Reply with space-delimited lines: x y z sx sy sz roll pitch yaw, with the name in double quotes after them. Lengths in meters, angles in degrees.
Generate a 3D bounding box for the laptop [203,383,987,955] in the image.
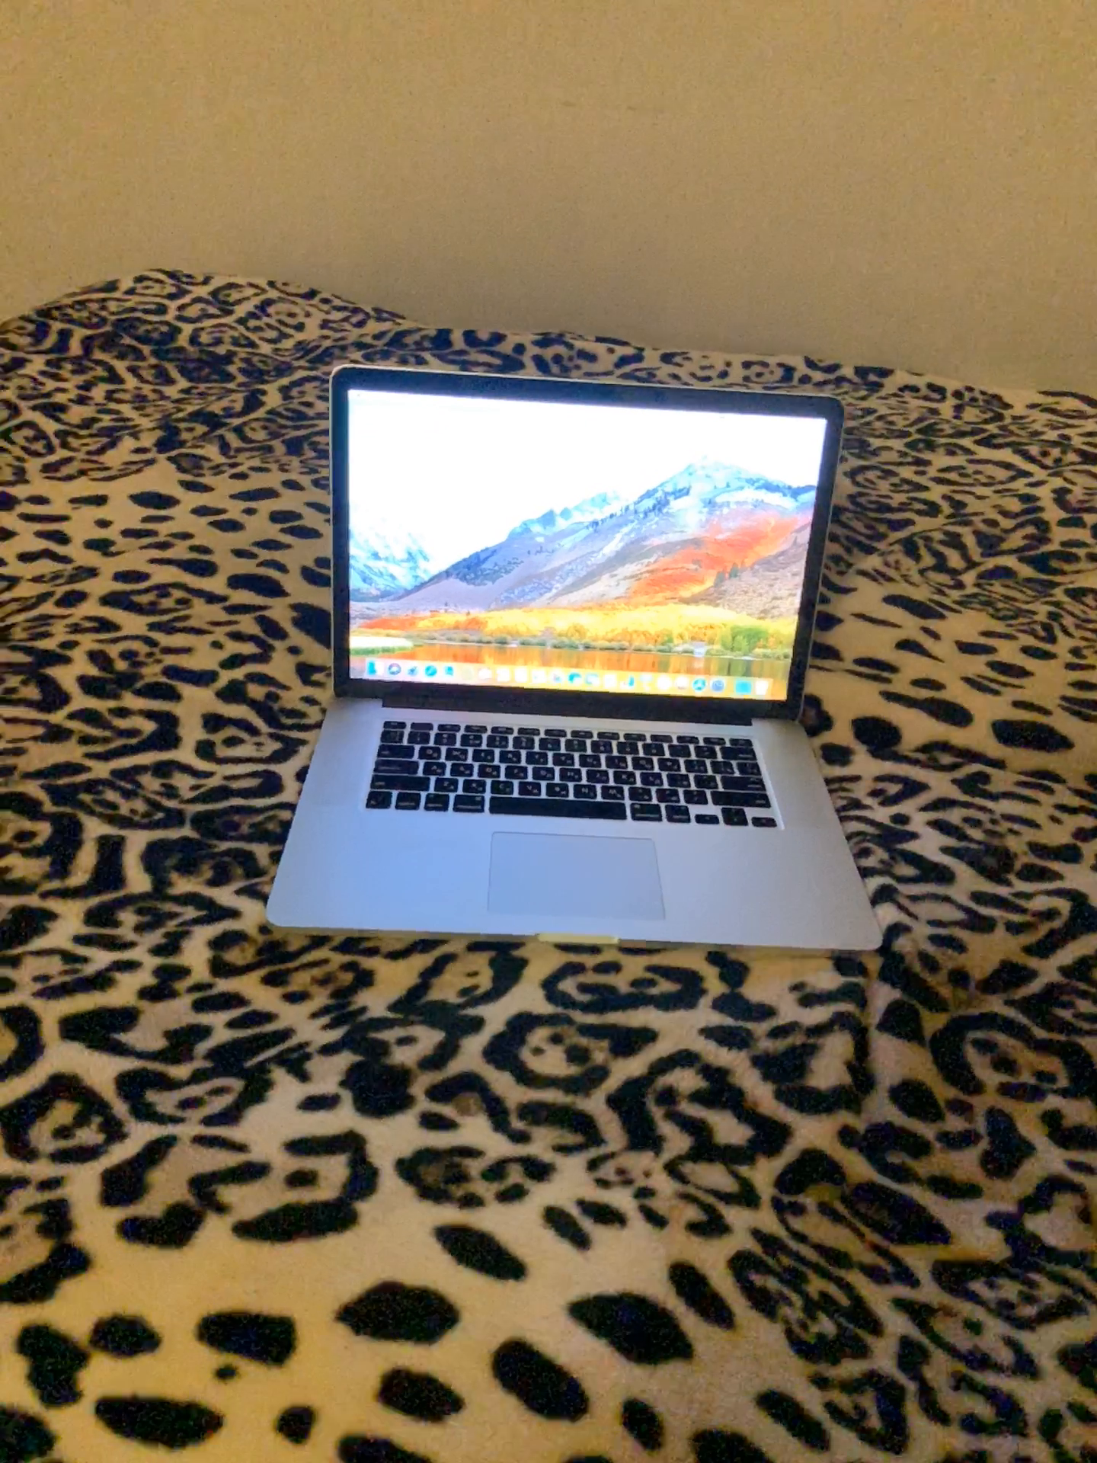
0.016 -0.052 0.689 0.348 0.222 0.301 2 35 -2 "laptop"
